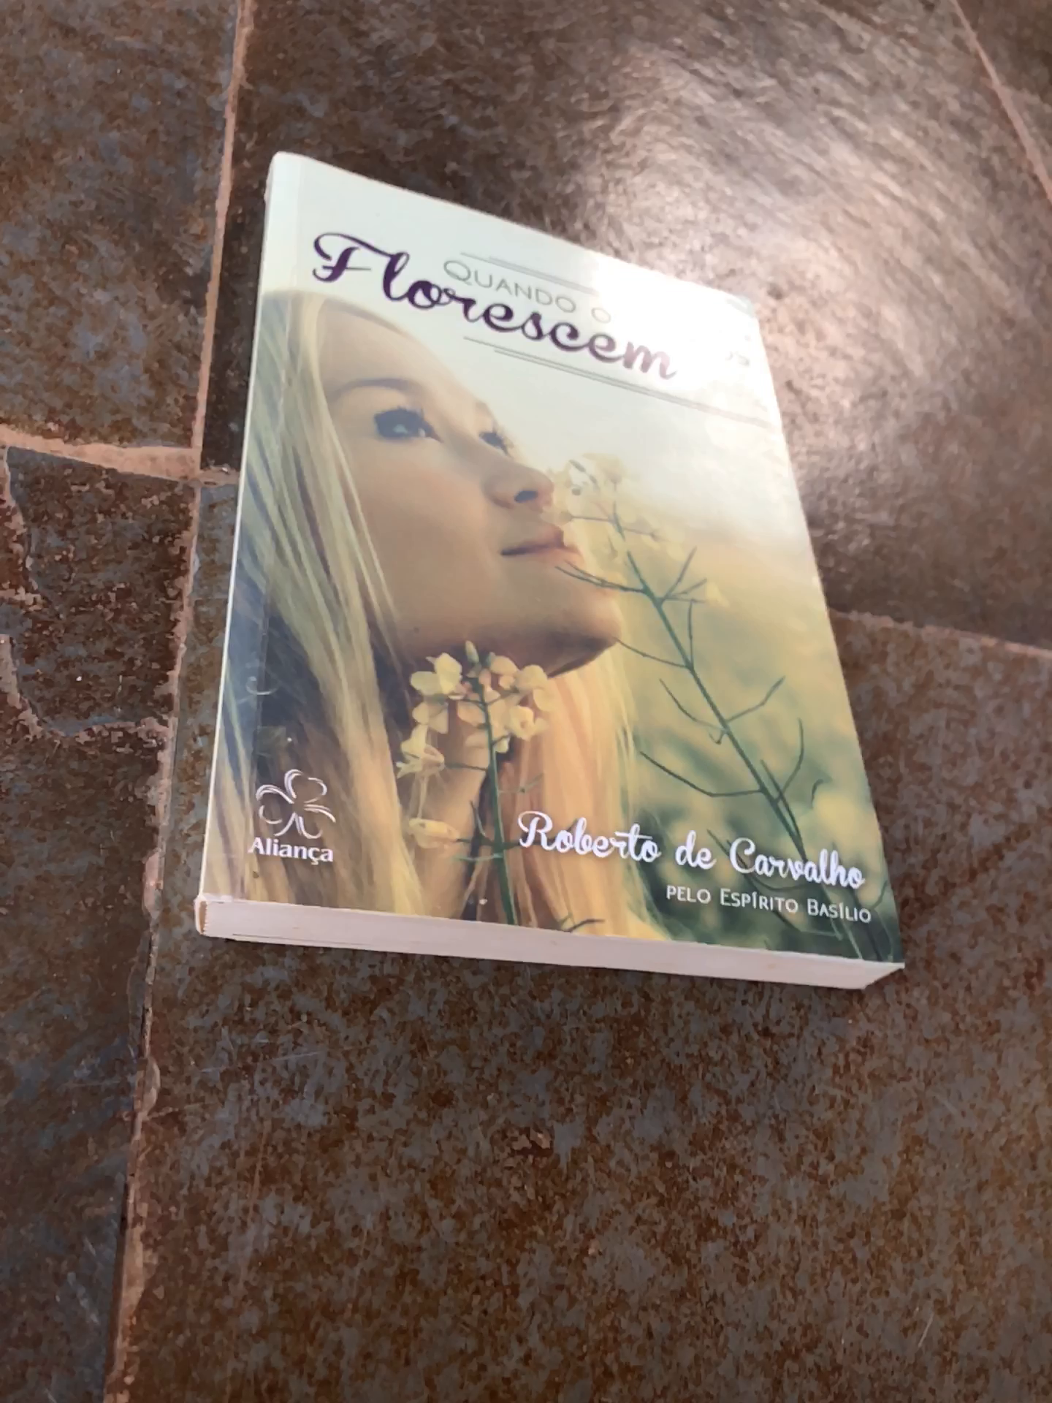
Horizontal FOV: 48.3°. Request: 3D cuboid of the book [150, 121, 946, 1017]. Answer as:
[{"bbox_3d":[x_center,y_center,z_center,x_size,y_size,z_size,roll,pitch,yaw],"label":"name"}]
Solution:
[{"bbox_3d":[0.005,-0.042,0.290,0.161,0.022,0.226,9,56,-20],"label":"book"}]
